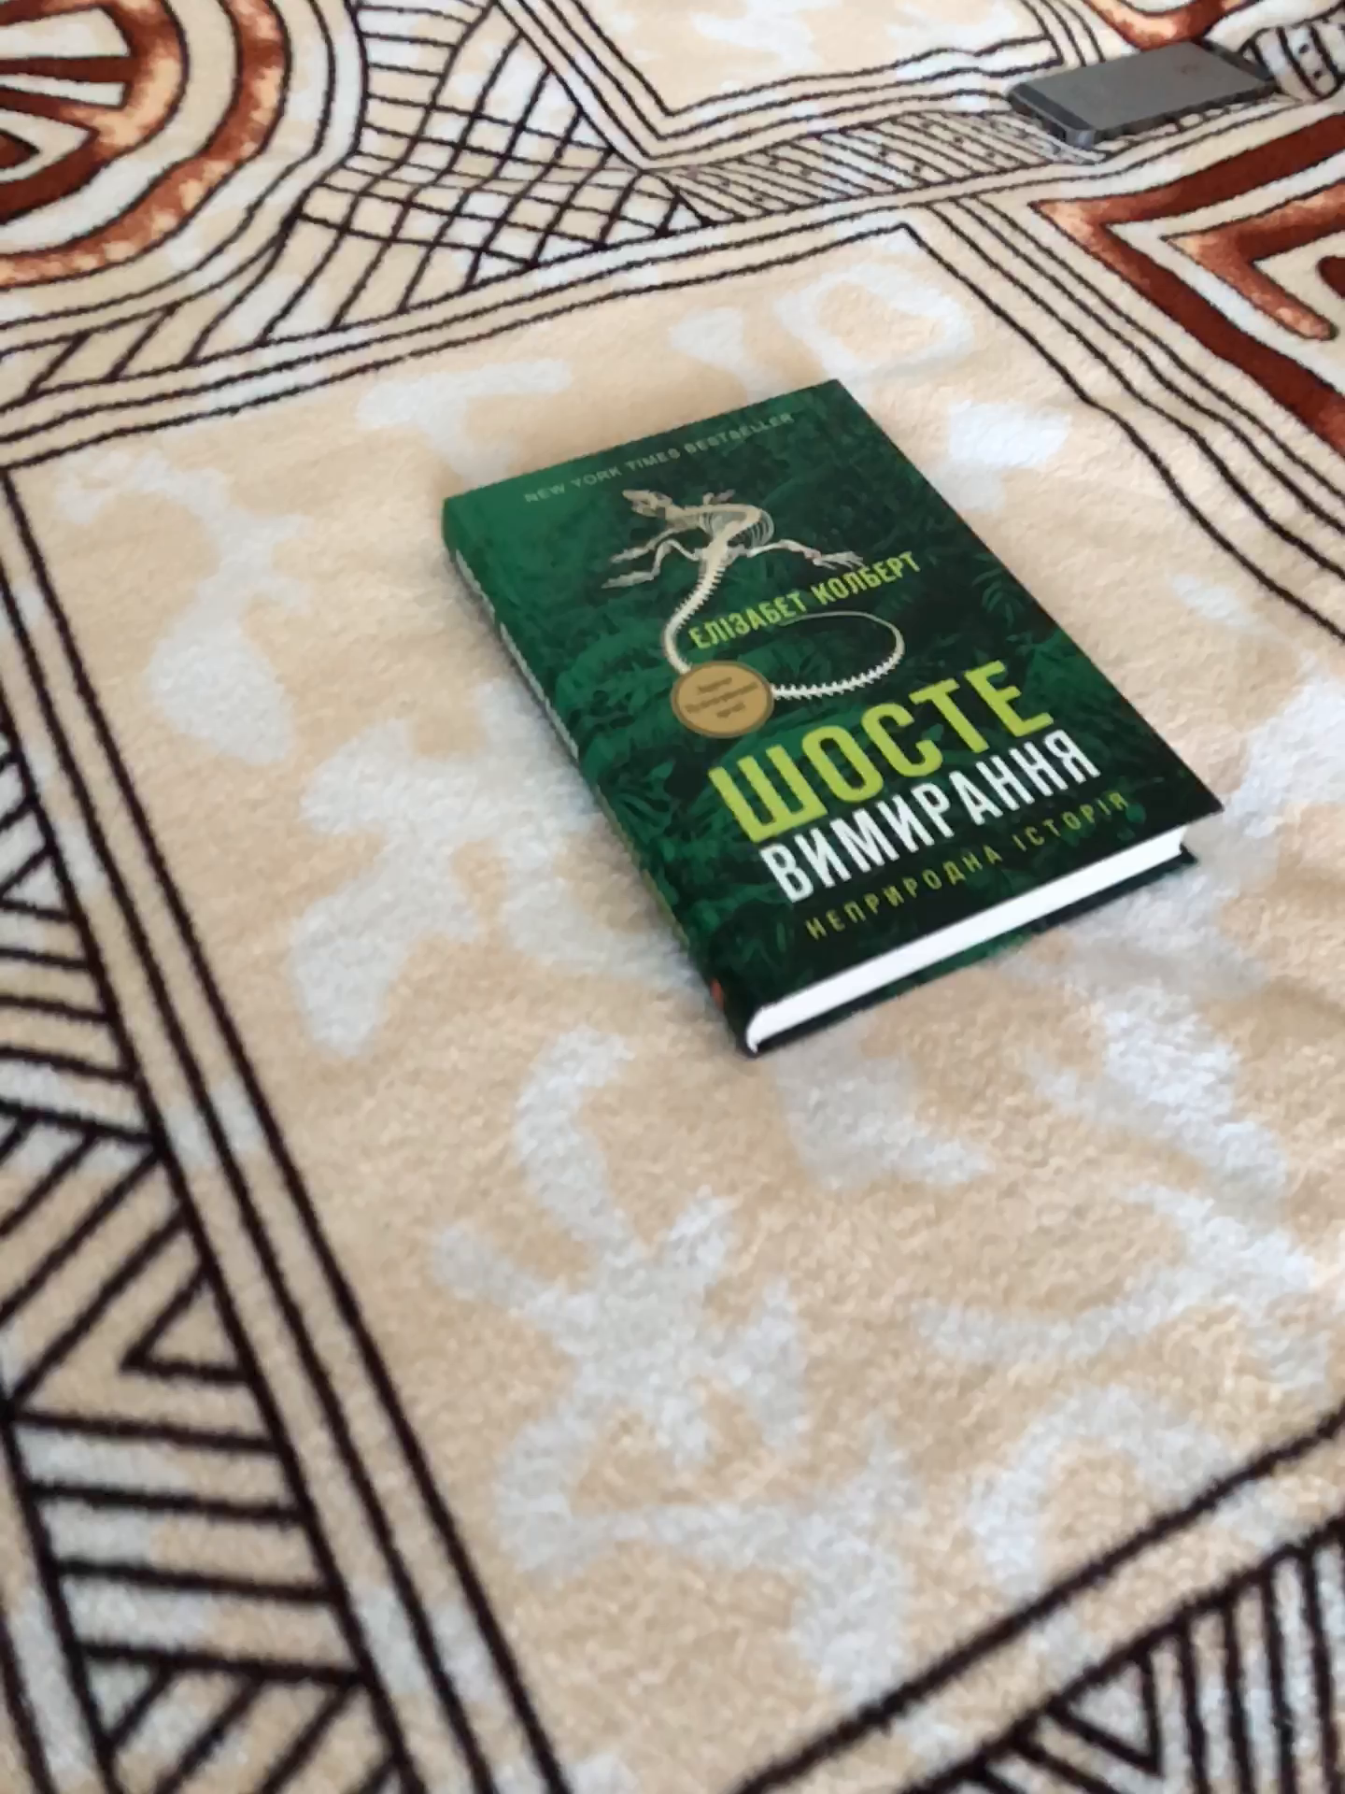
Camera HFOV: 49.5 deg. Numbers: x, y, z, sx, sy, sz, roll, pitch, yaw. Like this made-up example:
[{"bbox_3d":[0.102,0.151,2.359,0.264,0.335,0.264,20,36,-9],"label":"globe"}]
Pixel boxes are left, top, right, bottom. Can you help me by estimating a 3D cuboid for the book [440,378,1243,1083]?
[{"bbox_3d":[0.040,-0.067,0.450,0.150,0.030,0.221,-22,57,-15],"label":"book"}]
